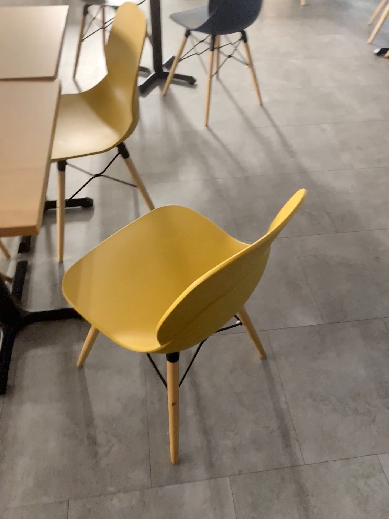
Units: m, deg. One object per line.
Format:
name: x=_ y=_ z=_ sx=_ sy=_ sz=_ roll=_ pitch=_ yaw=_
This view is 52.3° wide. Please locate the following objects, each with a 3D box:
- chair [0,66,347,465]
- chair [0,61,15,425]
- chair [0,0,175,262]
chair: x=-0.062 y=0.046 z=1.048 sx=0.493 sy=0.786 sz=0.520 roll=33 pitch=56 yaw=24
chair: x=-0.877 y=0.002 z=1.035 sx=0.492 sy=0.776 sz=0.501 roll=-7 pitch=50 yaw=-8
chair: x=-0.392 y=-0.486 z=1.490 sx=0.493 sy=0.776 sz=0.500 roll=-16 pitch=51 yaw=-15
